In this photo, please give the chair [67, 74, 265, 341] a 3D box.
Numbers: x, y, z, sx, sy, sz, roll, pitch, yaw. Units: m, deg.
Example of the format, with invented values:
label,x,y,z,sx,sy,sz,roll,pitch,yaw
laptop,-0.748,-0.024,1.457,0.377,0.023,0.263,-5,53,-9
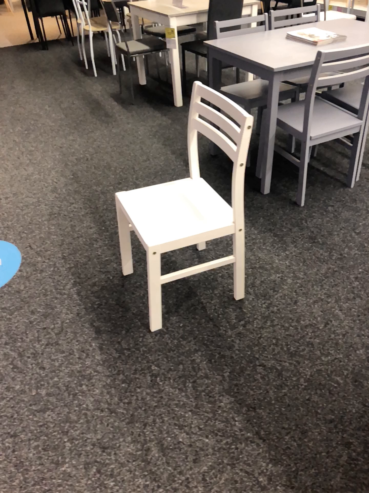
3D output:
label,x,y,z,sx,sy,sz,roll,pitch,yaw
chair,-0.064,-0.159,1.539,0.501,0.766,0.502,-17,39,-16
